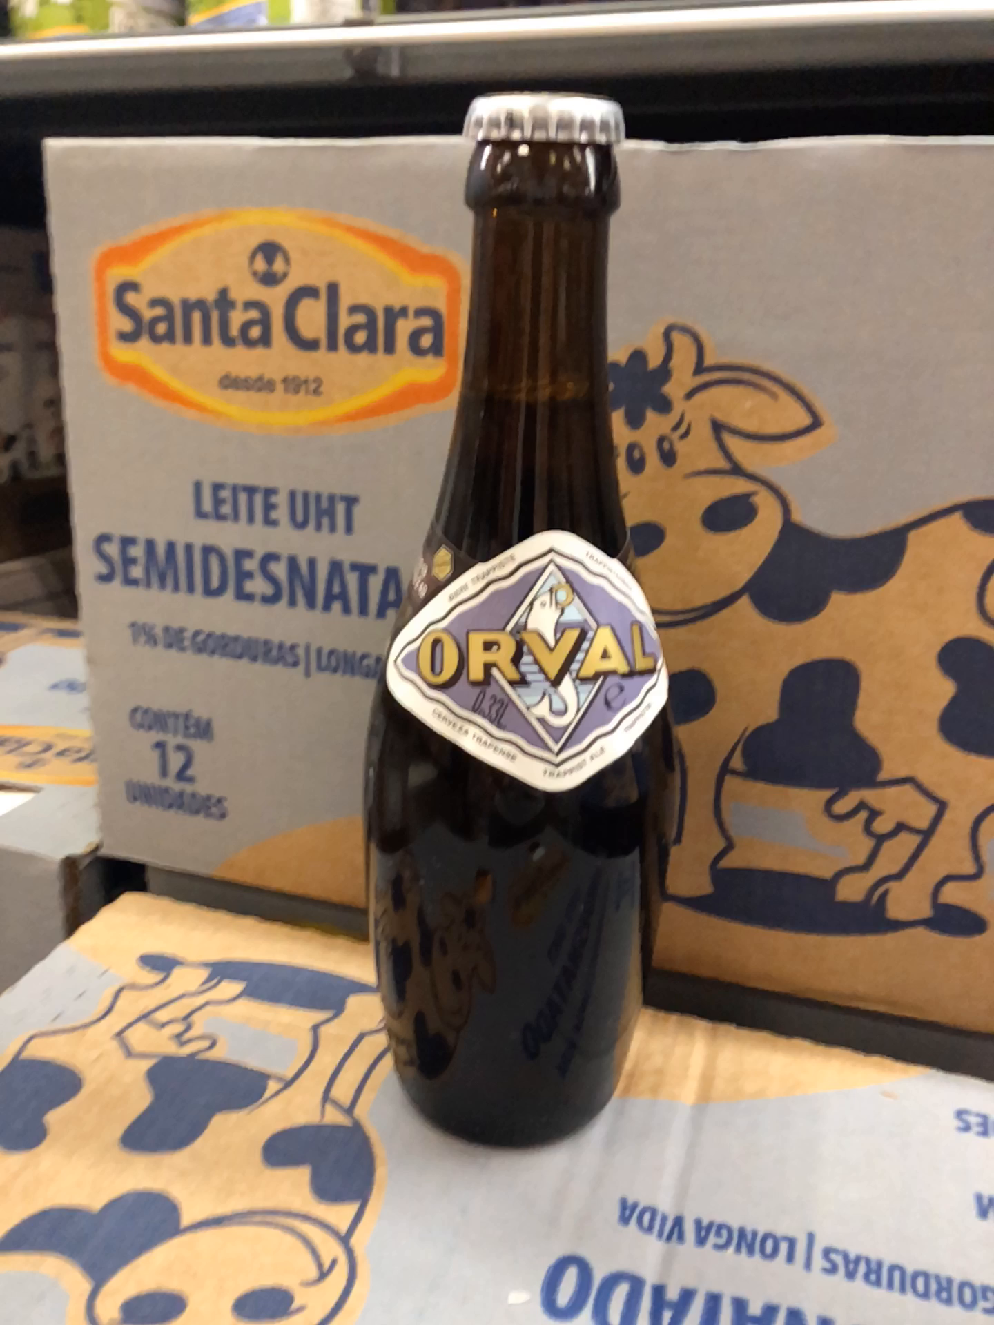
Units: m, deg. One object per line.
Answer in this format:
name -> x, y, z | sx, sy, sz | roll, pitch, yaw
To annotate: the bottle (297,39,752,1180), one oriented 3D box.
bottle -> -0.001, -0.004, 0.231 | 0.070, 0.209, 0.060 | -3, 18, -12
